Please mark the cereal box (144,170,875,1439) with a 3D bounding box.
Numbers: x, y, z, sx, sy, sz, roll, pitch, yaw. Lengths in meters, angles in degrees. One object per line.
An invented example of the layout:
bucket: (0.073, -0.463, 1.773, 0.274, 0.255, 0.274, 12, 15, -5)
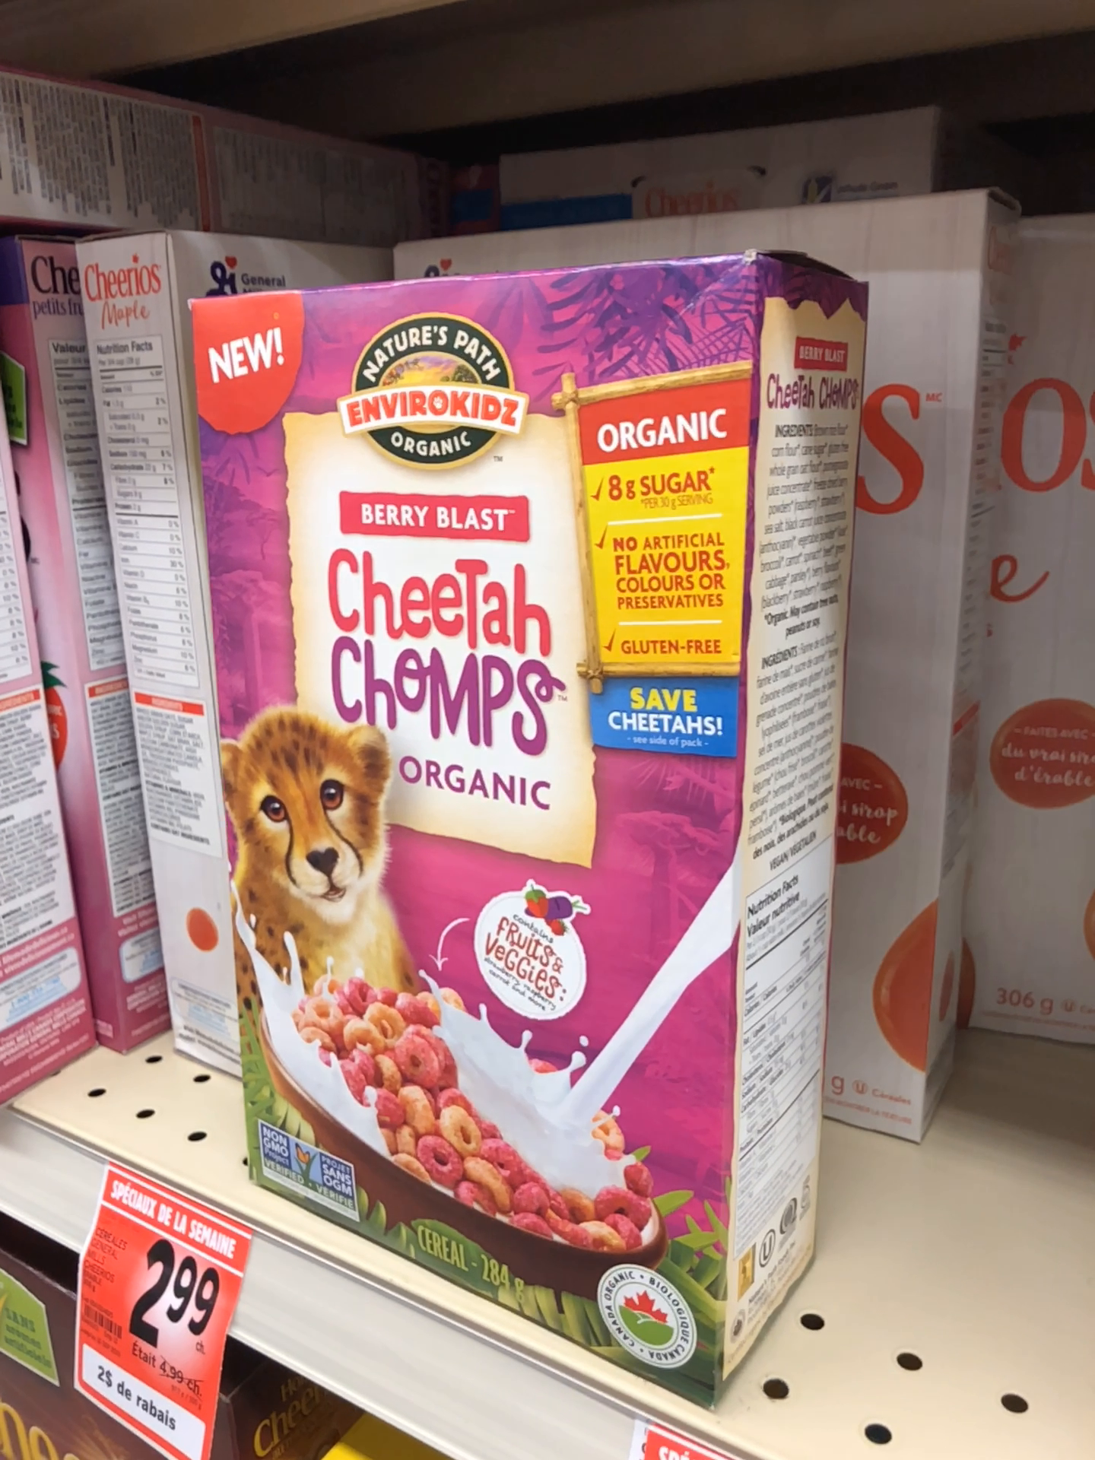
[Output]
cereal box: (-0.014, 0.012, 0.311, 0.160, 0.259, 0.070, 9, 16, 34)
